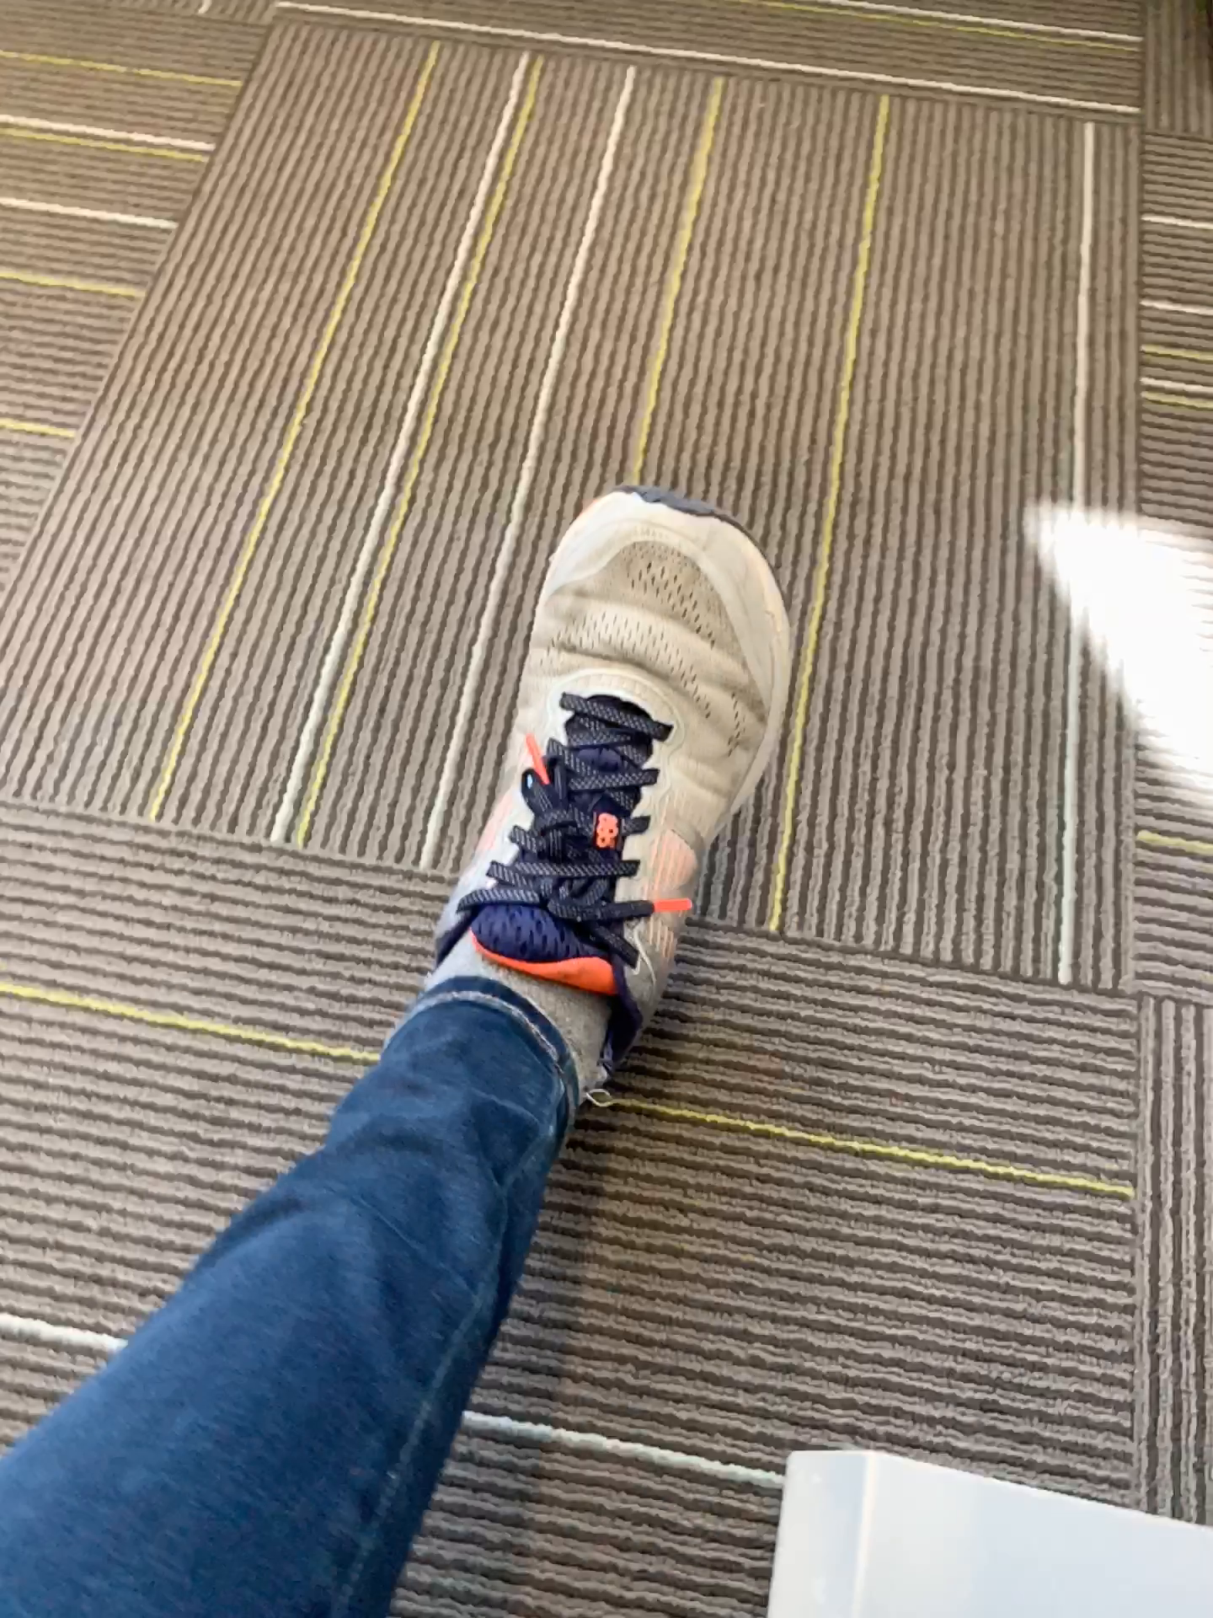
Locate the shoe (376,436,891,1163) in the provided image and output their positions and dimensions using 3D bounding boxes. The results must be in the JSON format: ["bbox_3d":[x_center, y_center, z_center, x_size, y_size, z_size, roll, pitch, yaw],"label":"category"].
[{"bbox_3d":[0.013,-0.008,0.487,0.120,0.110,0.230,19,105,9],"label":"shoe"}]
